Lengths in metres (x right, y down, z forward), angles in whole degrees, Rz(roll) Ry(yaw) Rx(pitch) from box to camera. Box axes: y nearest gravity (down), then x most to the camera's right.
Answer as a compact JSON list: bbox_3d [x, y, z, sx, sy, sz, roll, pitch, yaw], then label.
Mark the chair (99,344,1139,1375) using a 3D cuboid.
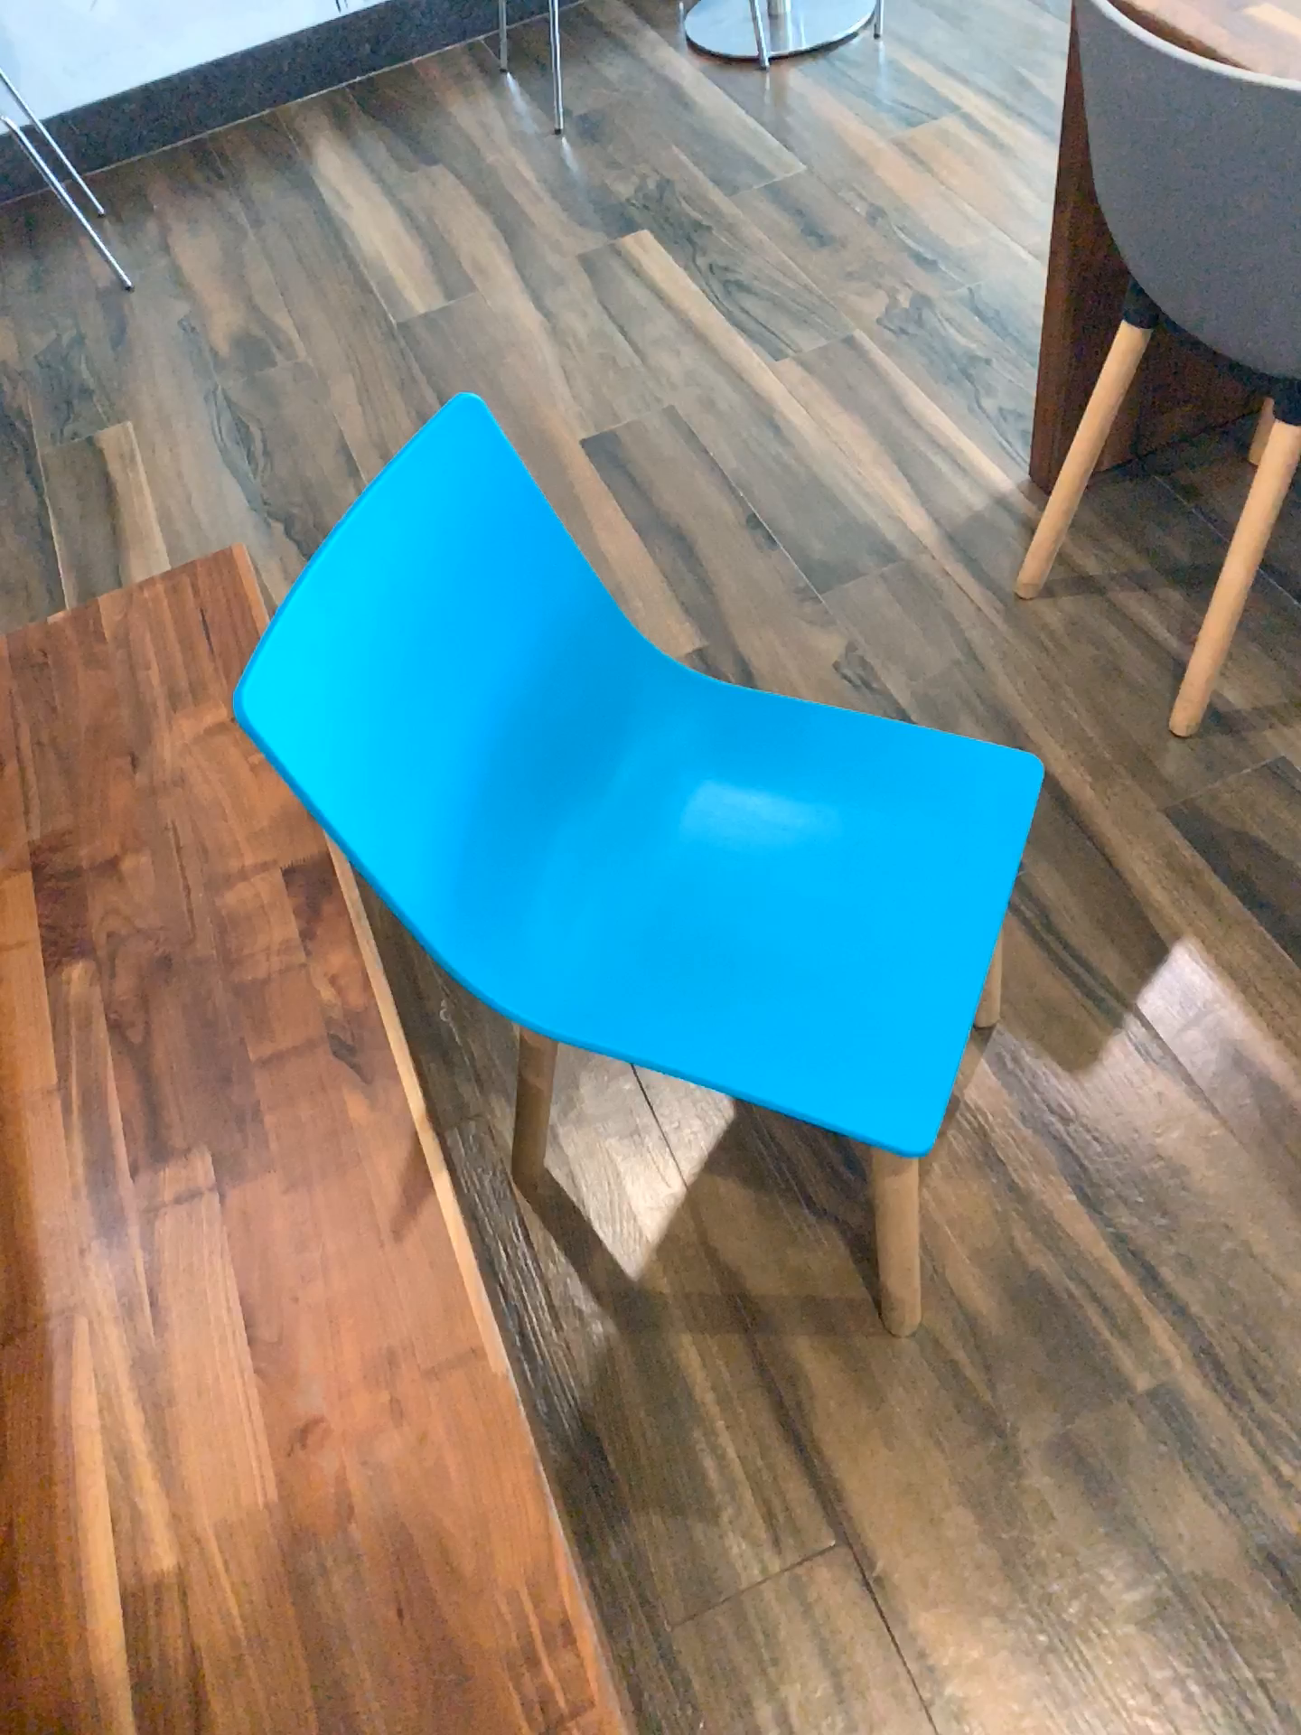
[{"bbox_3d":[0.041,0.004,1.186,0.581,0.665,0.512,14,57,21],"label":"chair"}]
